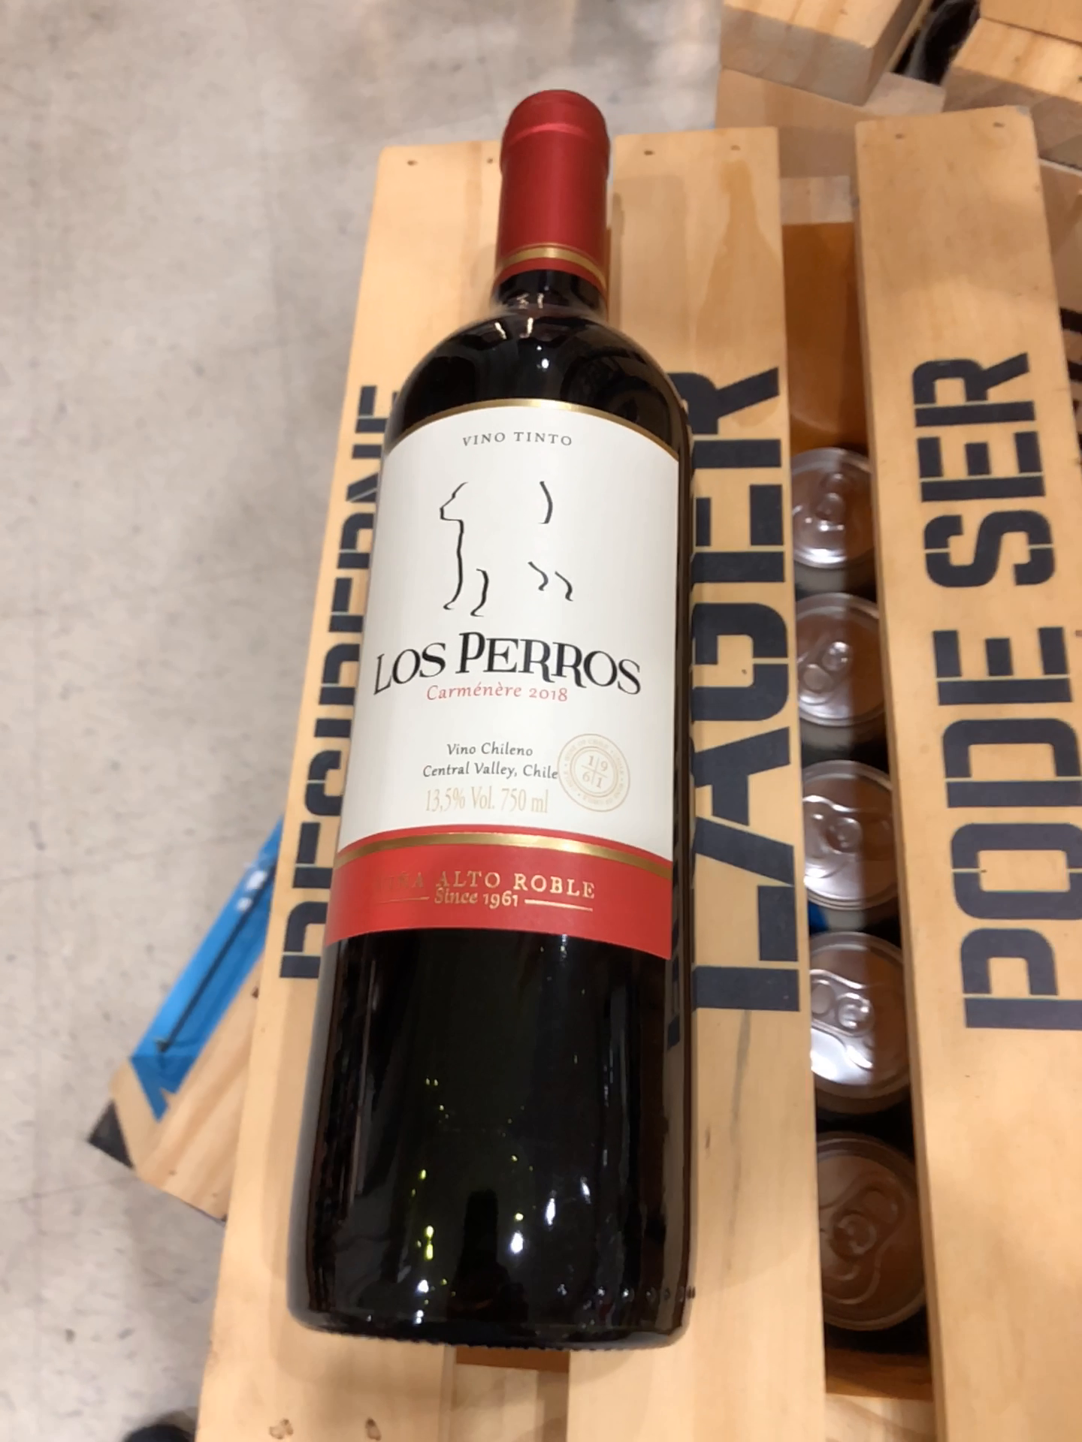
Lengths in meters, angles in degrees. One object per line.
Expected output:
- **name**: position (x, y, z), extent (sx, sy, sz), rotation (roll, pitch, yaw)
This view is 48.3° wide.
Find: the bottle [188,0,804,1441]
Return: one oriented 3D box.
- **bottle**: position (0.003, -0.032, 0.260), extent (0.090, 0.060, 0.311), rotation (1, 68, 5)
